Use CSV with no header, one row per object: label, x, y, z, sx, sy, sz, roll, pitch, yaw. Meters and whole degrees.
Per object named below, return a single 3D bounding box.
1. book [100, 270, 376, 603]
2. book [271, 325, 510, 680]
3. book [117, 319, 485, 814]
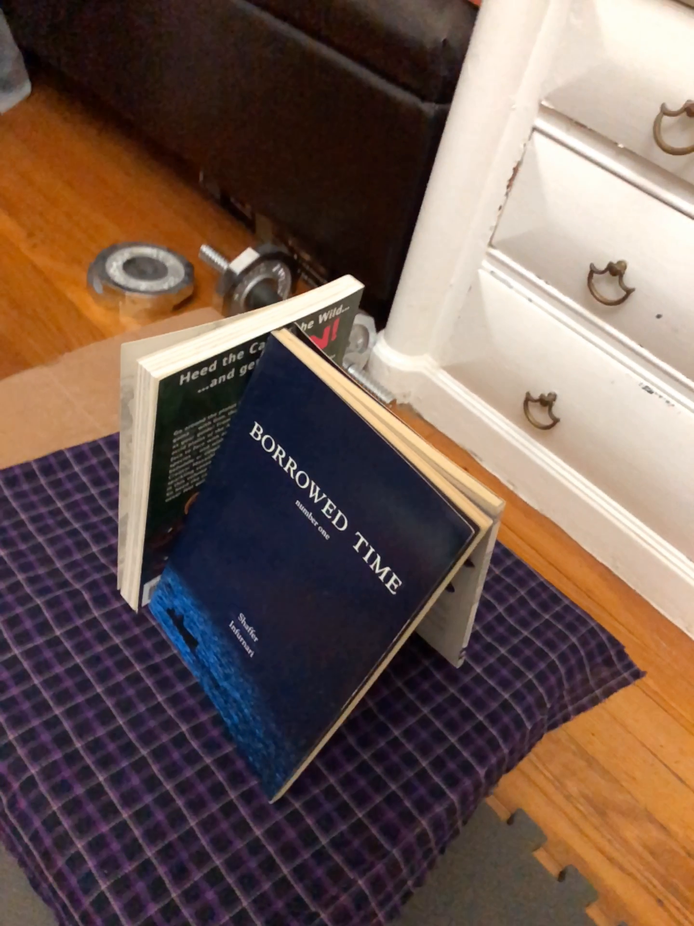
book,-0.067,-0.010,0.433,0.141,0.189,0.020,-30,66,-38
book,0.019,0.033,0.420,0.010,0.199,0.140,-38,62,-20
book,-0.041,0.055,0.383,0.150,0.199,0.010,45,30,26
